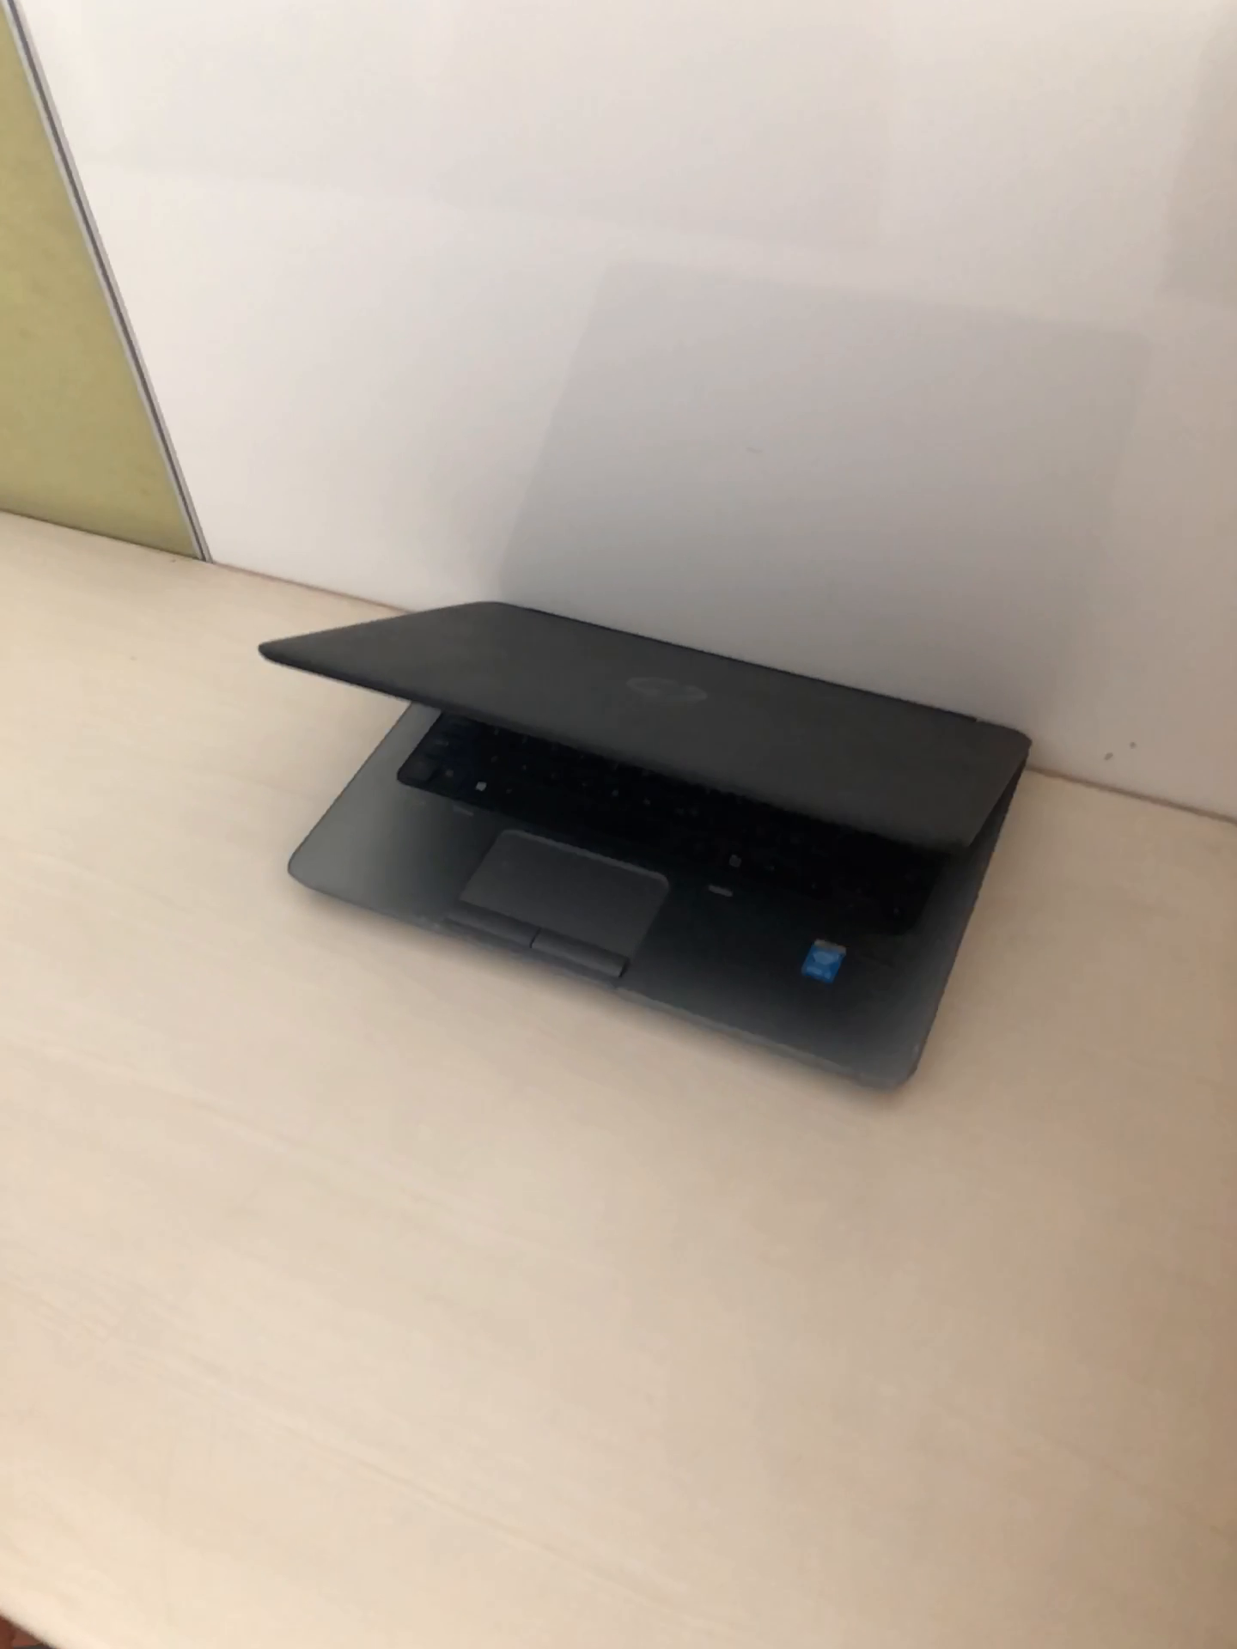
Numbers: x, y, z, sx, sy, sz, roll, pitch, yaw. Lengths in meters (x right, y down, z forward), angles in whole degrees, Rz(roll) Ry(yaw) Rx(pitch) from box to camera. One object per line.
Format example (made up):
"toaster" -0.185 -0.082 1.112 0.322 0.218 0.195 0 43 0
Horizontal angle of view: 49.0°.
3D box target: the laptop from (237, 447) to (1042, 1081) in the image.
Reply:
"laptop" 0.018 -0.046 0.687 0.320 0.118 0.220 17 53 18
